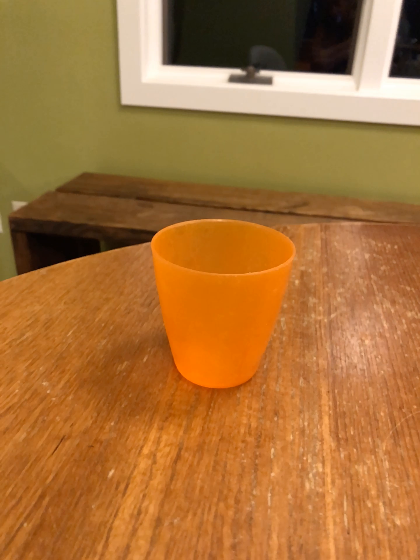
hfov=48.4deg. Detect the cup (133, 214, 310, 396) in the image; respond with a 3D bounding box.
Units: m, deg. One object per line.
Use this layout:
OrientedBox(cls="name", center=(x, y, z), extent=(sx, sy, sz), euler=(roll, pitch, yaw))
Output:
OrientedBox(cls="cup", center=(0.005, 0.010, 0.259), extent=(0.079, 0.066, 0.080), euler=(2, 26, -1))
